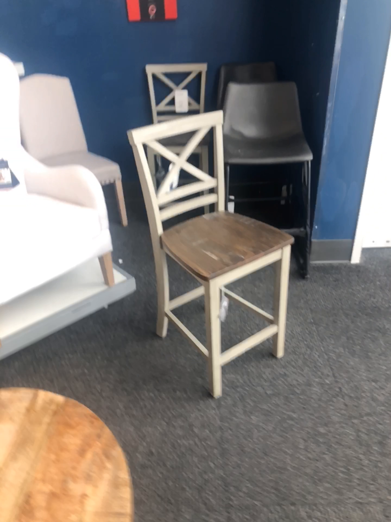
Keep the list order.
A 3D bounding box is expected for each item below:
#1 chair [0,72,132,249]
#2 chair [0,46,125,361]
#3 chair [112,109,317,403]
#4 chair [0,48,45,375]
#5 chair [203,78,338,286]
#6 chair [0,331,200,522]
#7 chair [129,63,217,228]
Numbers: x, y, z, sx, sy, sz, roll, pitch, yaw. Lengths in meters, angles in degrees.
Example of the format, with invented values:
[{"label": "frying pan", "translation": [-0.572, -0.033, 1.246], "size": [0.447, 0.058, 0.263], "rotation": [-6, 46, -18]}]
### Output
[{"label": "chair", "translation": [-0.839, -0.680, 2.823], "size": [0.520, 0.925, 0.586], "rotation": [-22, 37, -28]}, {"label": "chair", "translation": [-0.857, -0.302, 1.837], "size": [0.706, 1.014, 0.692], "rotation": [24, 41, 36]}, {"label": "chair", "translation": [0.065, -0.039, 1.713], "size": [0.470, 0.935, 0.536], "rotation": [-23, 37, -29]}, {"label": "chair", "translation": [-0.904, -0.172, 1.437], "size": [0.485, 0.915, 0.381], "rotation": [24, 41, 36]}, {"label": "chair", "translation": [0.347, -0.424, 2.317], "size": [0.539, 0.935, 0.537], "rotation": [-4, 32, -2]}, {"label": "chair", "translation": [-0.422, 0.642, 1.092], "size": [0.685, 0.537, 0.522], "rotation": [14, 36, 25]}, {"label": "chair", "translation": [-0.101, -0.760, 2.854], "size": [0.469, 0.935, 0.537], "rotation": [0, 32, 4]}]
